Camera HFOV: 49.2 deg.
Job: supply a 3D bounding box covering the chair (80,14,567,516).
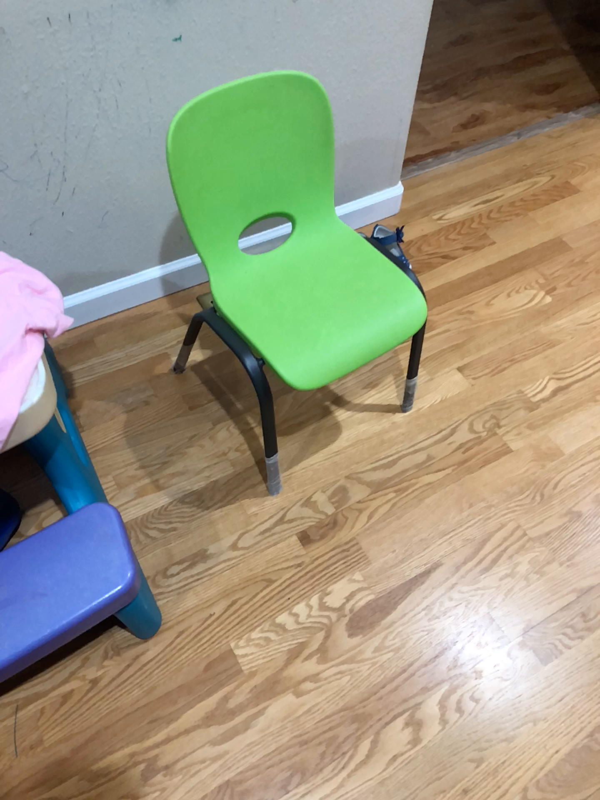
[{"bbox_3d":[0.015,-0.232,1.156,0.511,0.558,0.481,-28,60,-22],"label":"chair"}]
